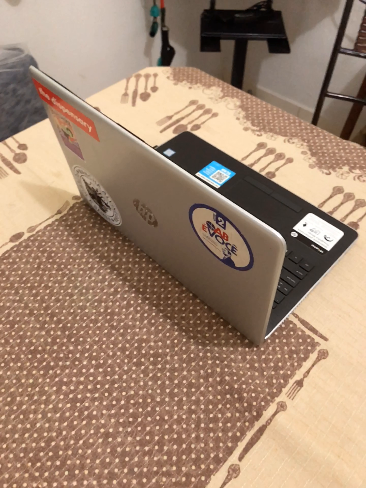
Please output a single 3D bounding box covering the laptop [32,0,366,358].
[{"bbox_3d":[0.045,-0.110,0.535,0.360,0.226,0.268,37,60,26],"label":"laptop"}]
